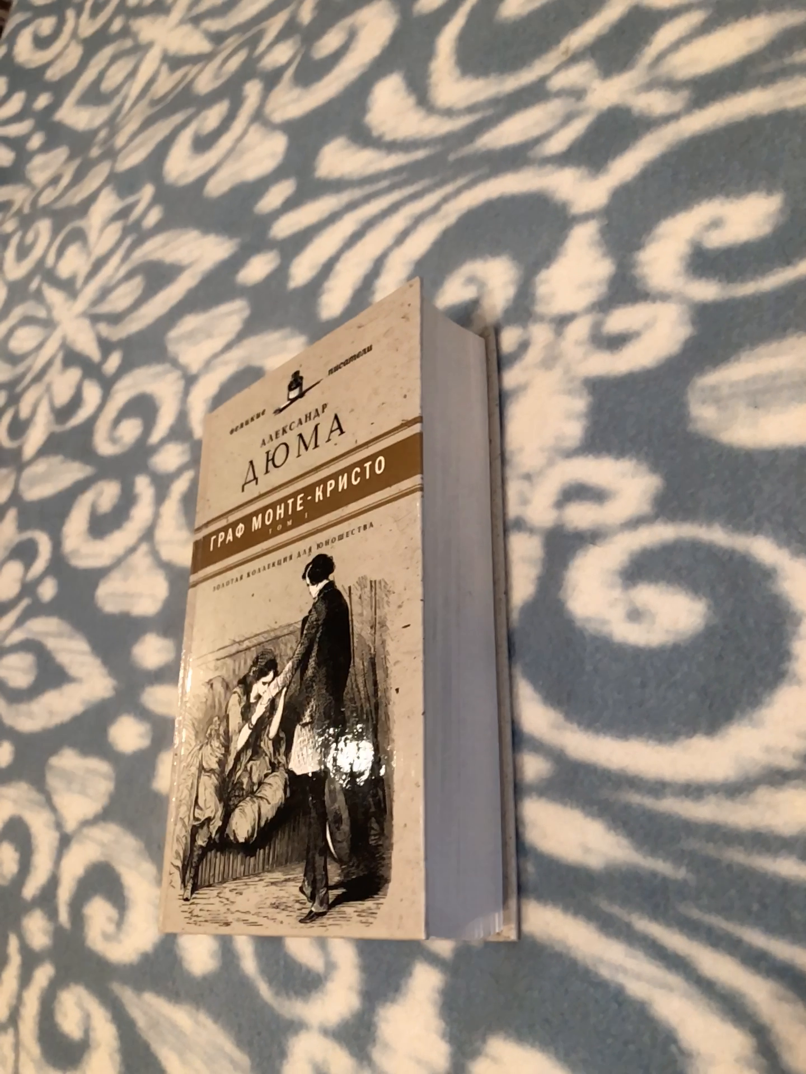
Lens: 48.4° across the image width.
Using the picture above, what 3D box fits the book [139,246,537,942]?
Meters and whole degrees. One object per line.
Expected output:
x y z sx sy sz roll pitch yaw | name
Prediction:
-0.027 0.025 0.315 0.138 0.040 0.212 -21 59 41 | book
